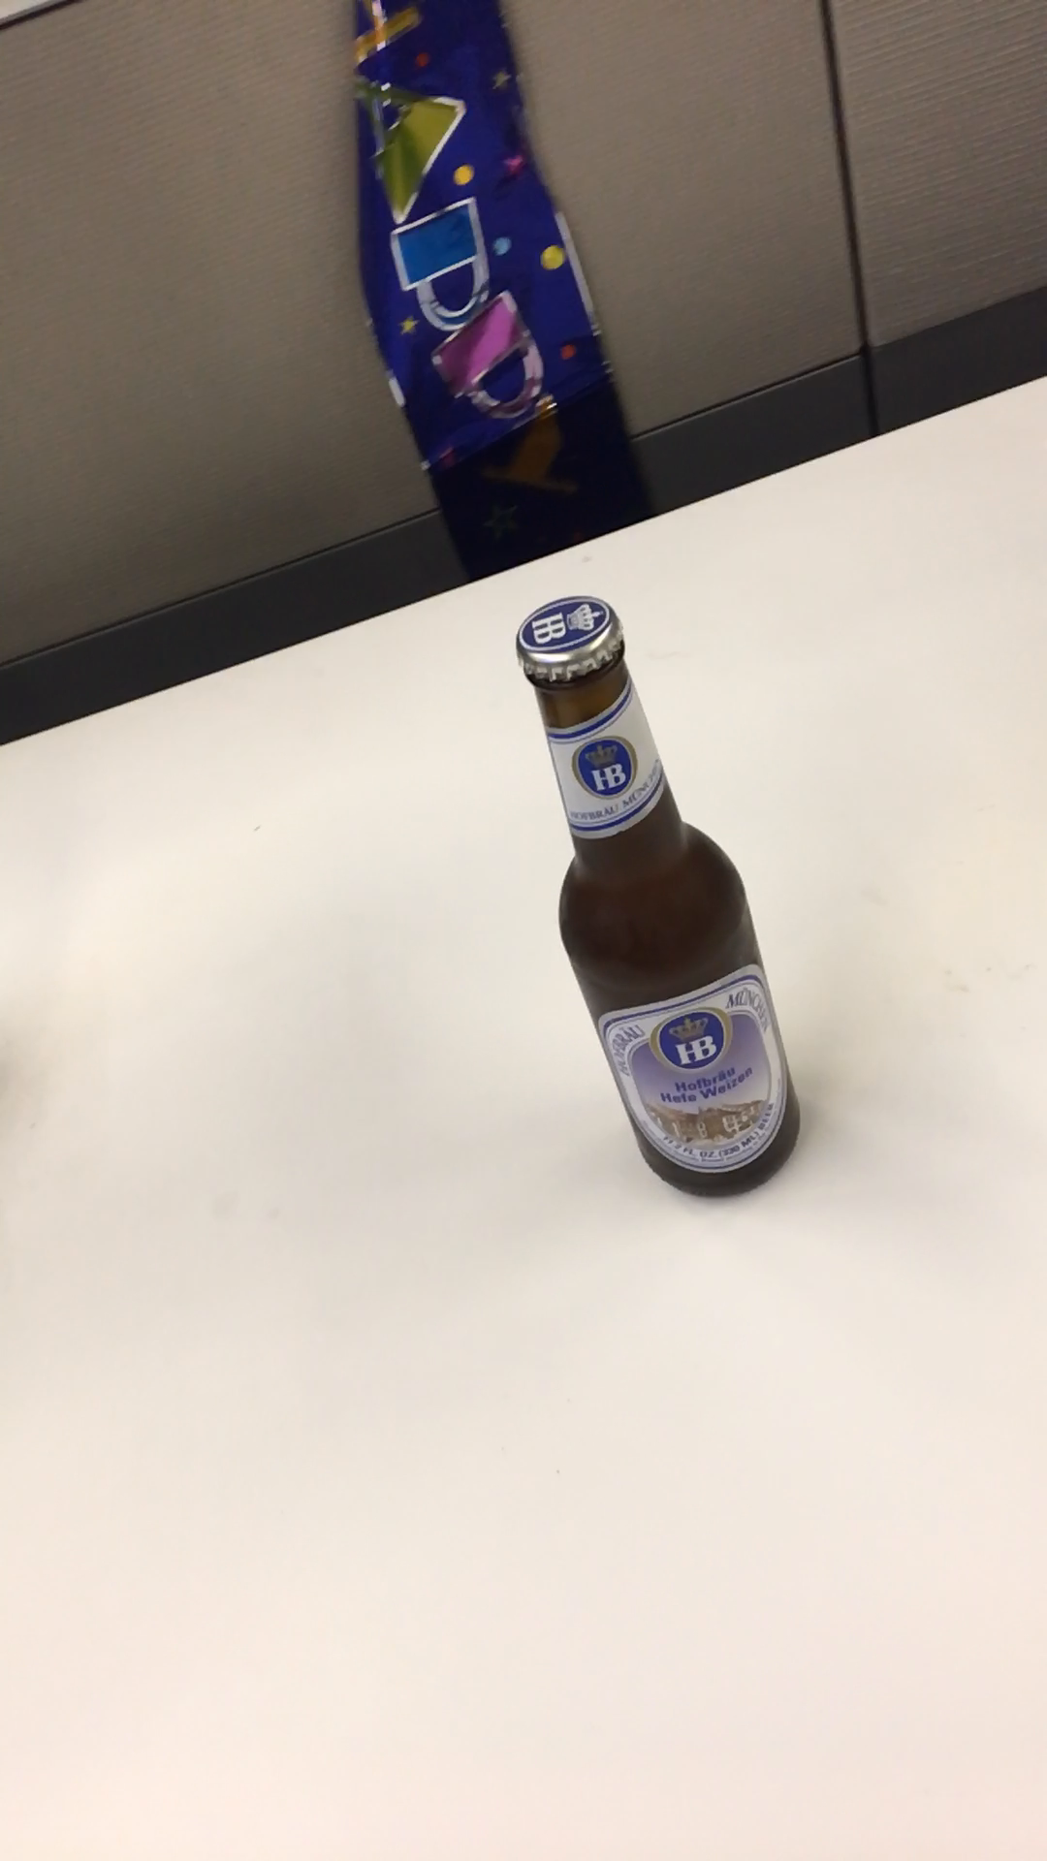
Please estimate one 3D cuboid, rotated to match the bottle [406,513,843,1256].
[{"bbox_3d":[0.038,0.000,0.485,0.080,0.230,0.080,-10,46,11],"label":"bottle"}]
